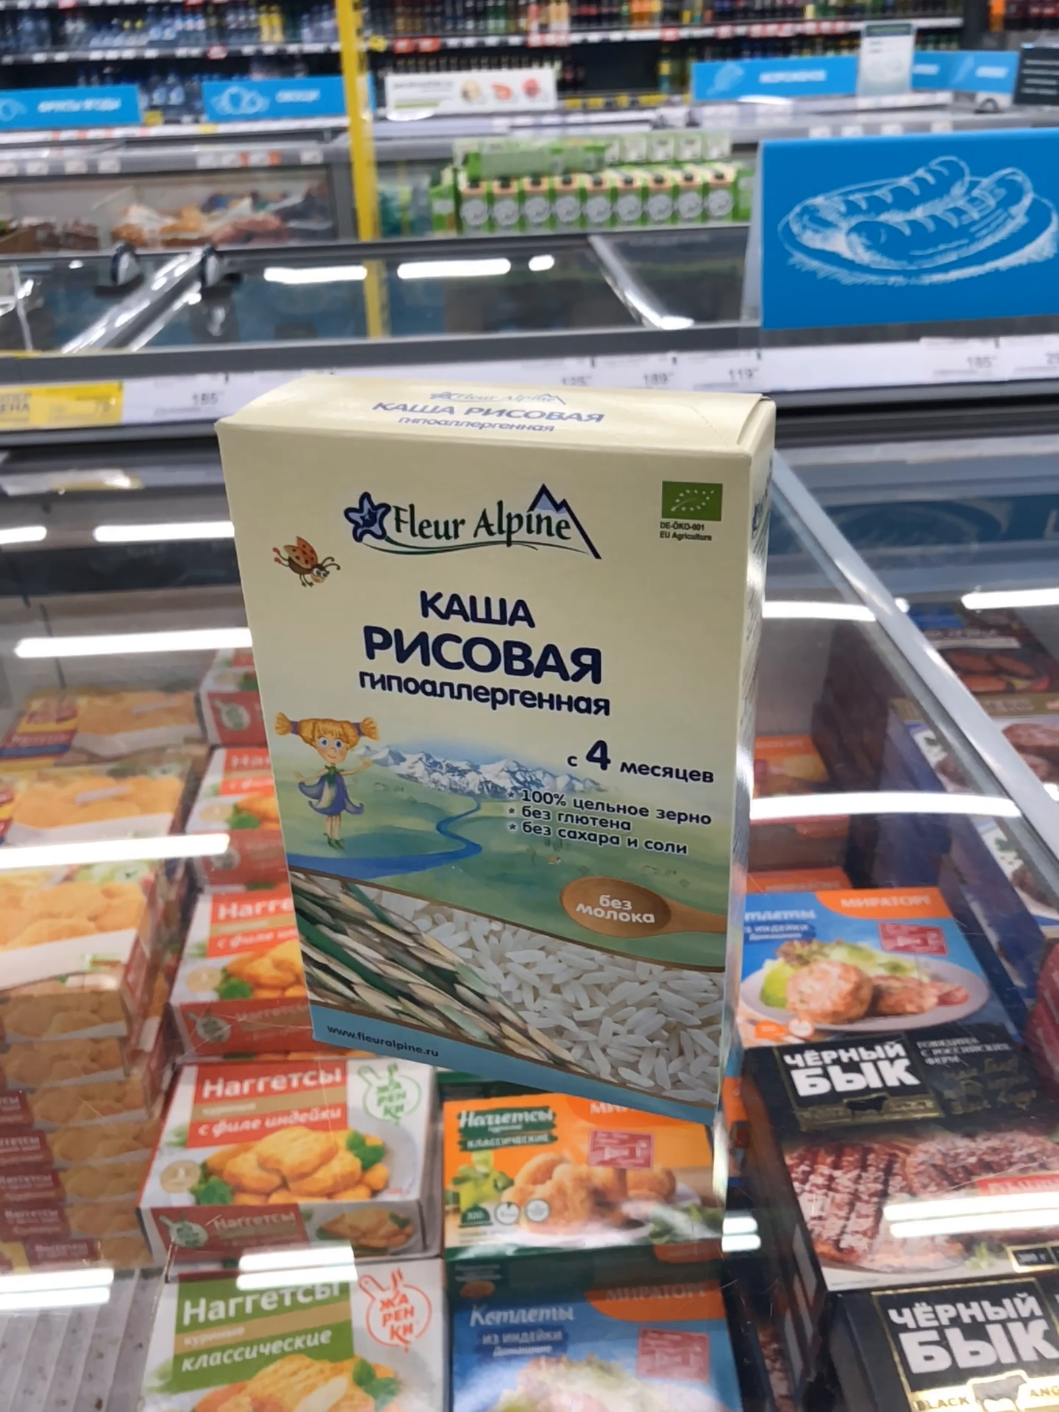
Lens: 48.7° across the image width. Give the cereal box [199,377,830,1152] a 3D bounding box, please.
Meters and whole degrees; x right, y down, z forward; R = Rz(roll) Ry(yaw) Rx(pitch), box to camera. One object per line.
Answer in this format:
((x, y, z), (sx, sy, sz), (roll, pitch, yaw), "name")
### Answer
((0.001, 0.018, 0.323), (0.140, 0.199, 0.050), (7, 30, 16), "cereal box")
